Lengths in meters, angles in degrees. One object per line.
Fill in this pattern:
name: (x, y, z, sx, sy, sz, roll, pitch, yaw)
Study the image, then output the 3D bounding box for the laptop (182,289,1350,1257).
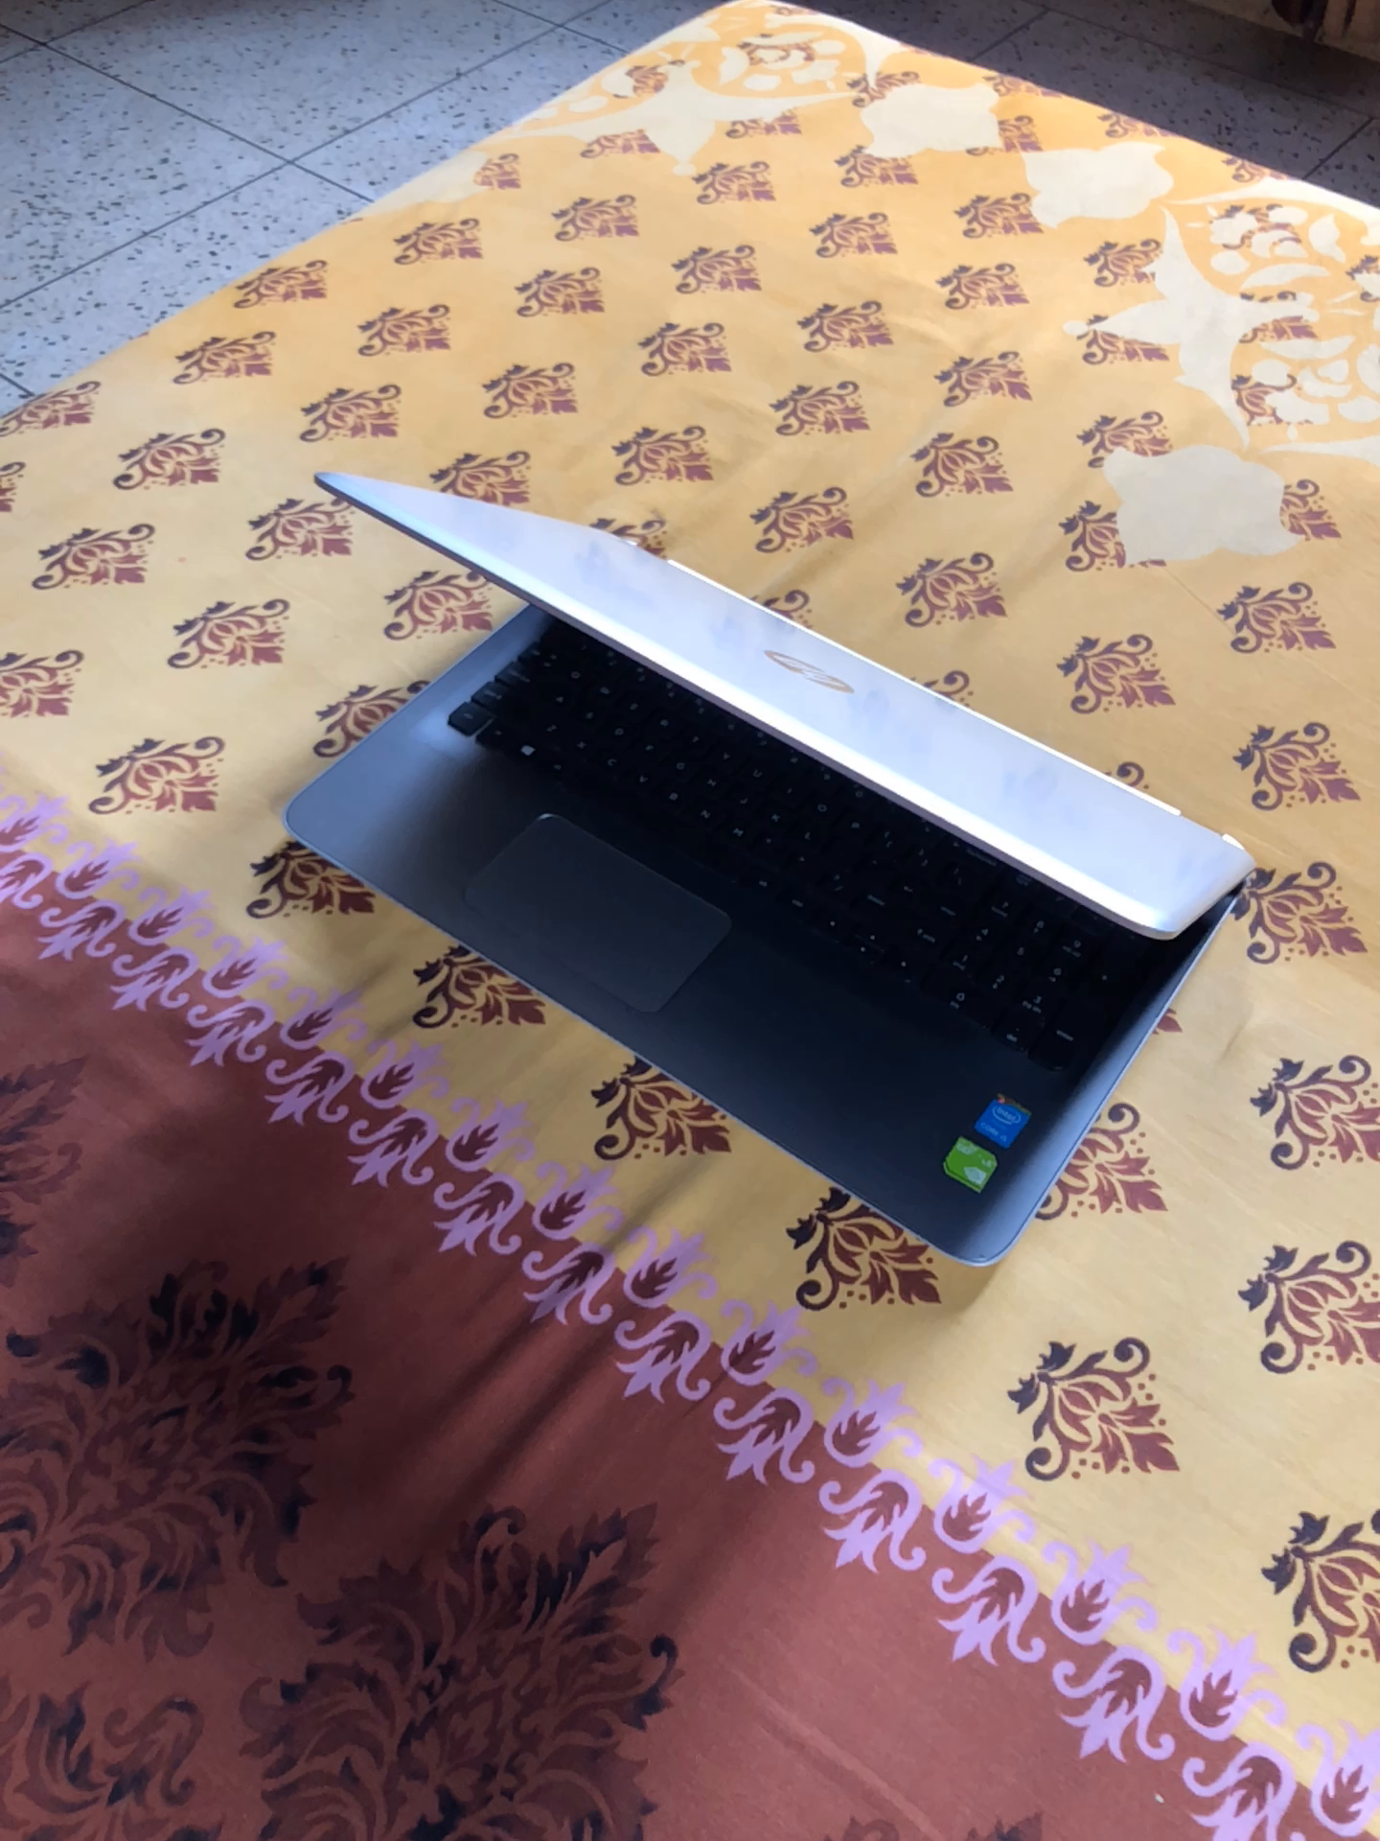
laptop: (0.029, -0.084, 0.647, 0.372, 0.155, 0.249, 30, 57, 20)
